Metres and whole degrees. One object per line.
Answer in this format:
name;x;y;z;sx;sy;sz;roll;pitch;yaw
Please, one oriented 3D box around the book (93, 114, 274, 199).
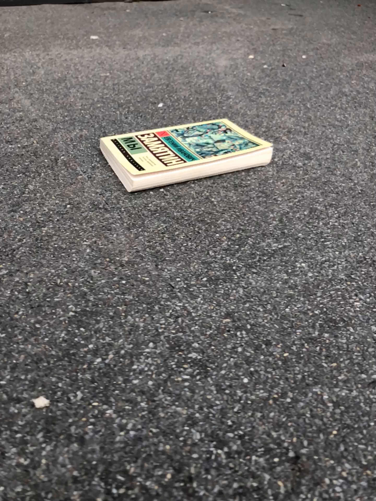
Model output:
book;-0.008;-0.120;0.499;0.181;0.026;0.121;-16;41;-22
